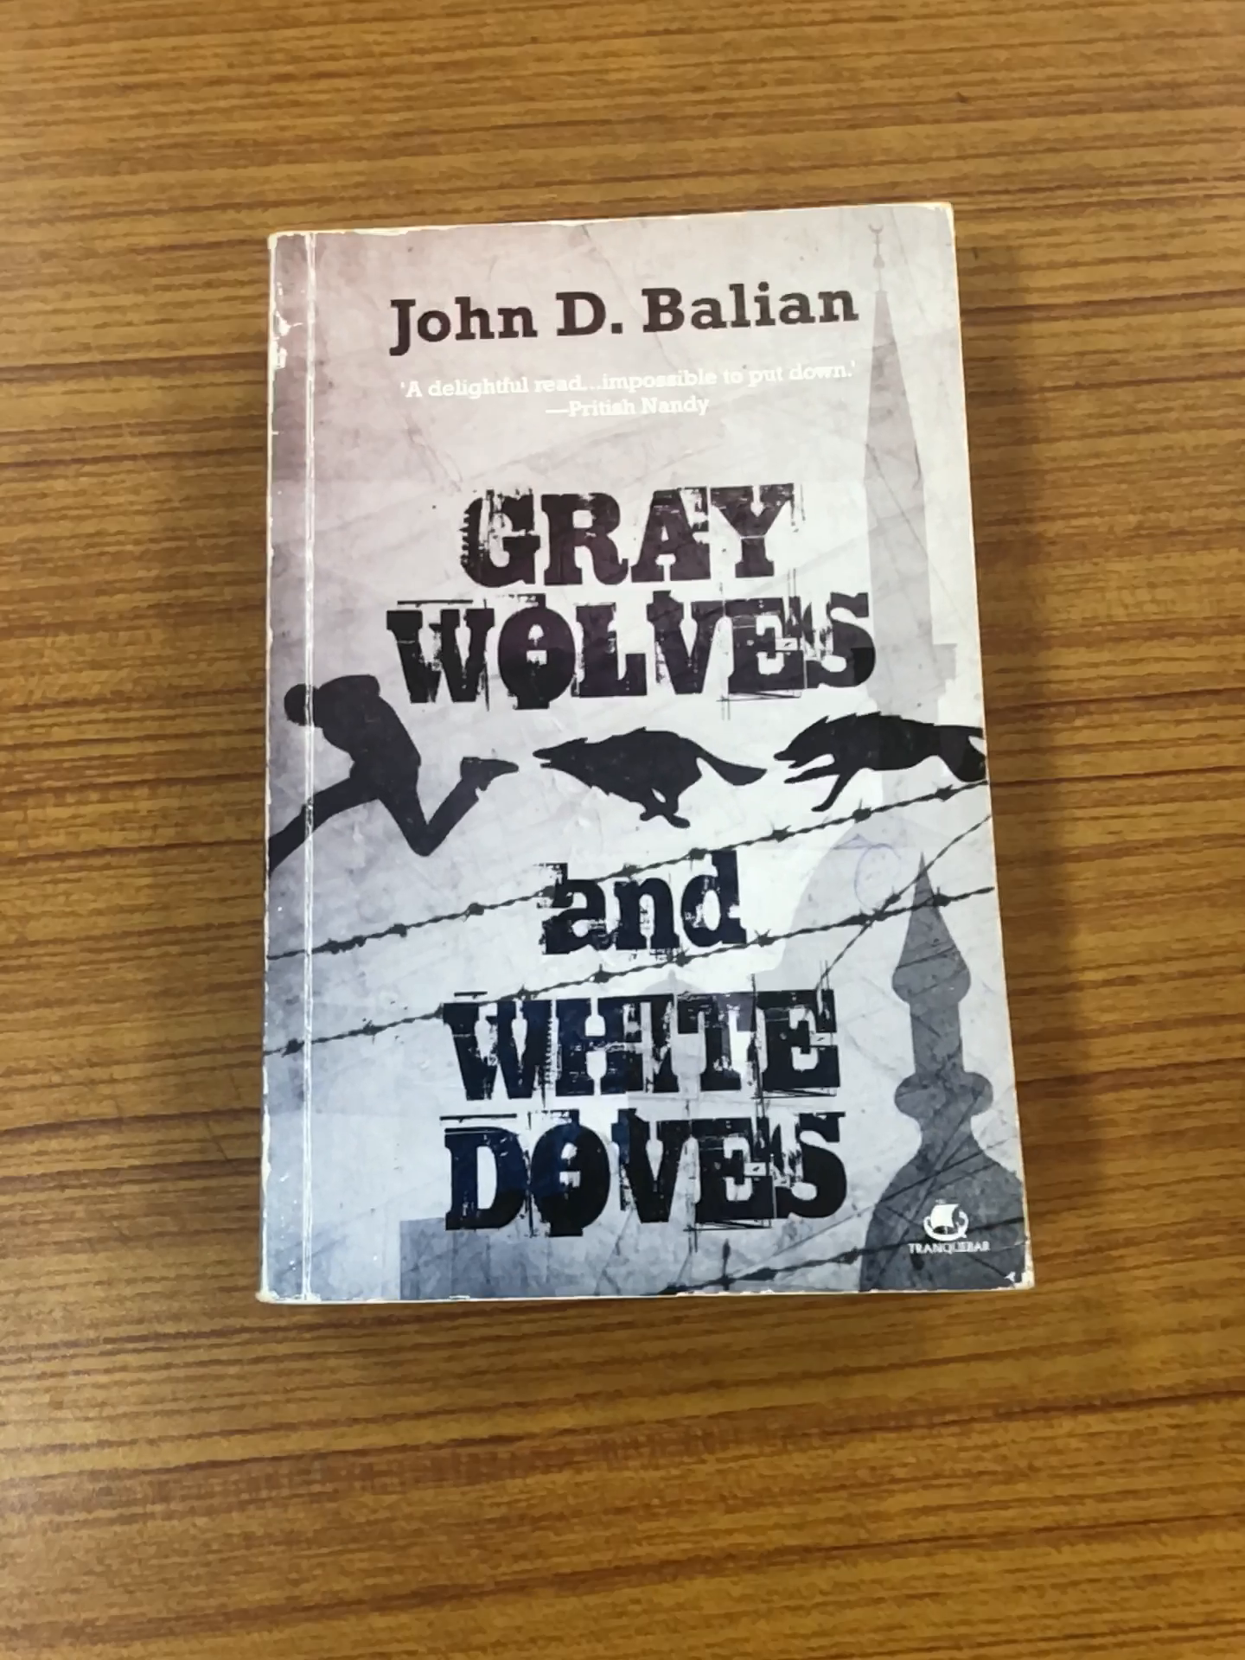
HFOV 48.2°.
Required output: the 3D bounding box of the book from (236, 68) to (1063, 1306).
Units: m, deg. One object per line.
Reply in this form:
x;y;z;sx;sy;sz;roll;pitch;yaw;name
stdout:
0.002;-0.027;0.250;0.130;0.030;0.210;-2;81;3;book
